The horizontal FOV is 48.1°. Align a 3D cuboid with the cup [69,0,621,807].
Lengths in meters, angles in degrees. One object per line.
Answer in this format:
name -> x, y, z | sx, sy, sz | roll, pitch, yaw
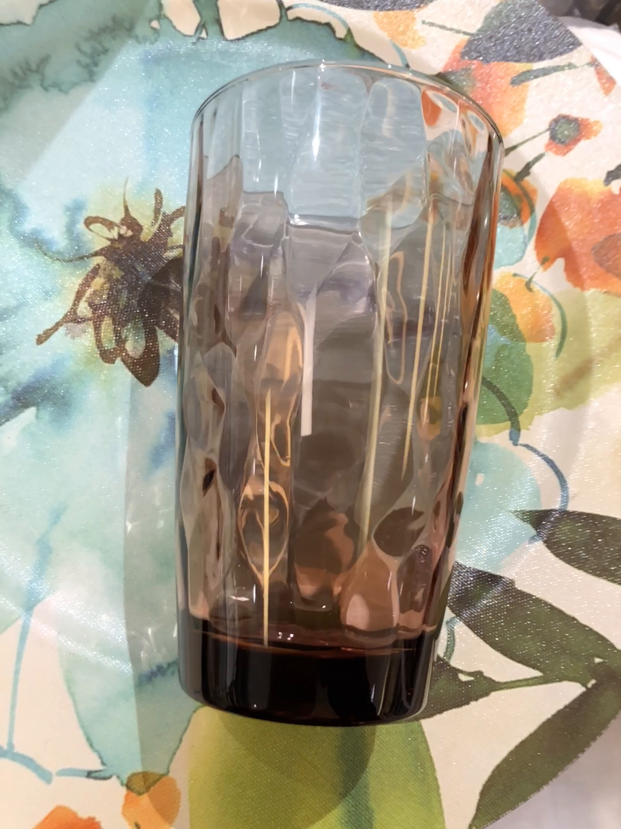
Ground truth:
cup -> 0.005, 0.000, 0.169 | 0.090, 0.080, 0.150 | 6, 74, -10
